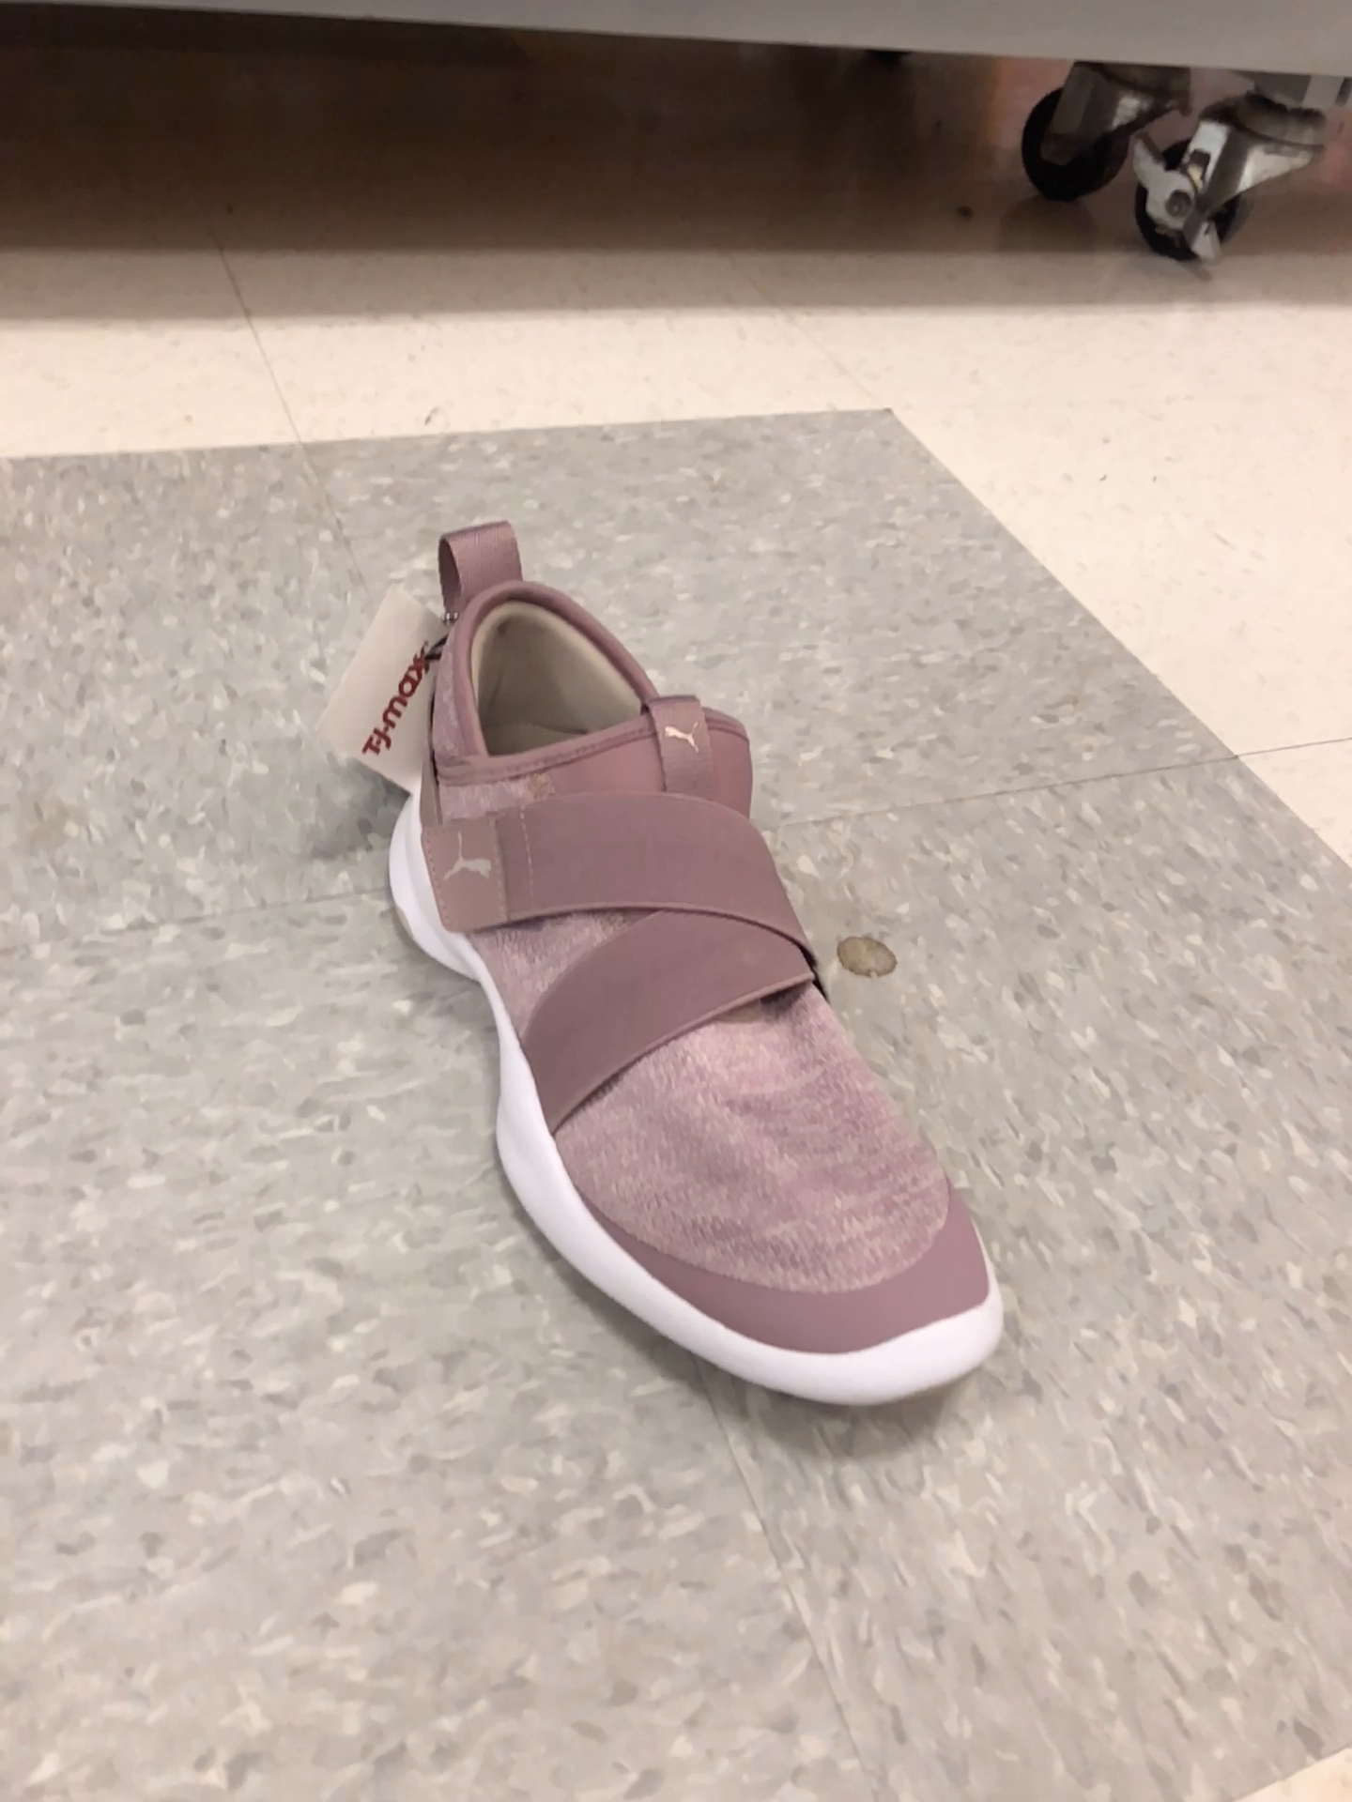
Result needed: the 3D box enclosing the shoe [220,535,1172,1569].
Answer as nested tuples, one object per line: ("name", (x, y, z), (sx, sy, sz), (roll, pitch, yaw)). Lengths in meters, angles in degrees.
("shoe", (-0.017, 0.016, 0.403), (0.105, 0.093, 0.272), (-20, 50, -29))
